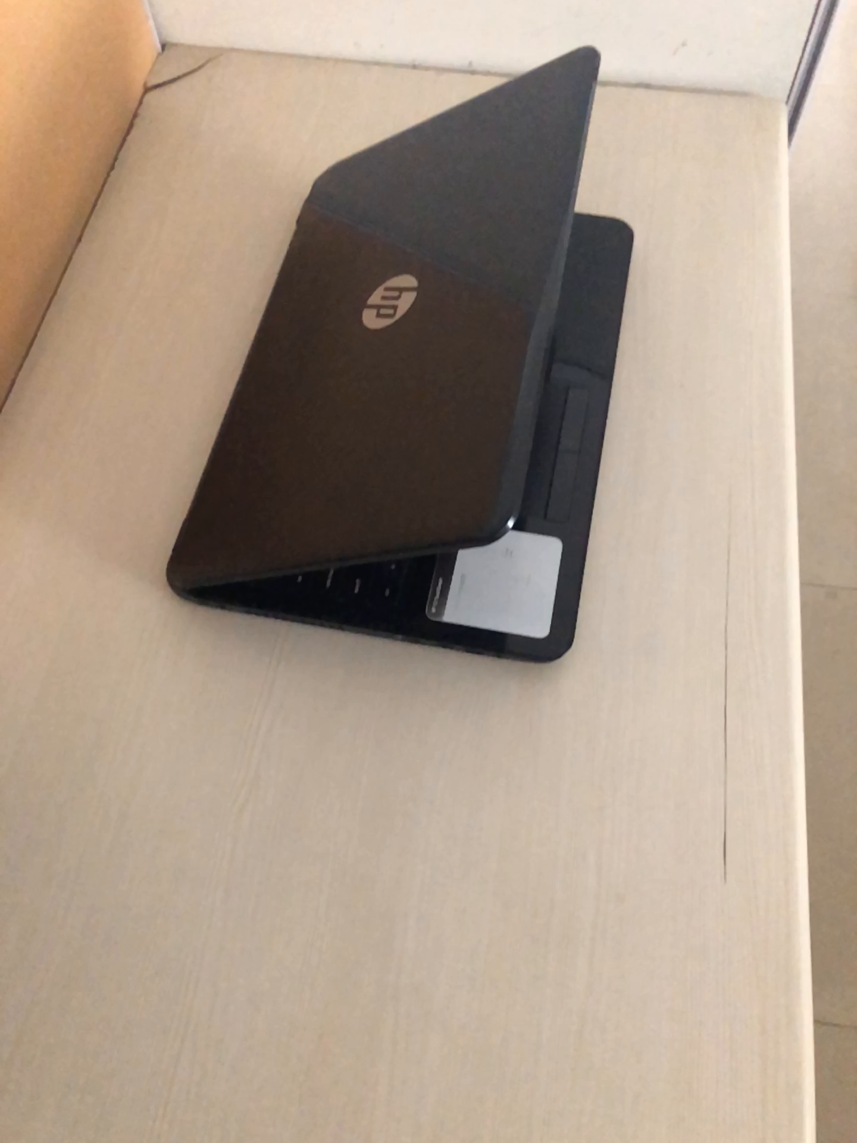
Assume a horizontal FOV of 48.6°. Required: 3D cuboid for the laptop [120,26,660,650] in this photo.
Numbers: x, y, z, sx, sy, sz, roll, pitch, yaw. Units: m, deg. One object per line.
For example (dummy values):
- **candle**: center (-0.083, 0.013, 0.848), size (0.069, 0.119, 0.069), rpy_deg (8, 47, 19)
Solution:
- **laptop**: center (-0.001, -0.156, 0.591), size (0.223, 0.131, 0.353), rpy_deg (10, 63, 7)
